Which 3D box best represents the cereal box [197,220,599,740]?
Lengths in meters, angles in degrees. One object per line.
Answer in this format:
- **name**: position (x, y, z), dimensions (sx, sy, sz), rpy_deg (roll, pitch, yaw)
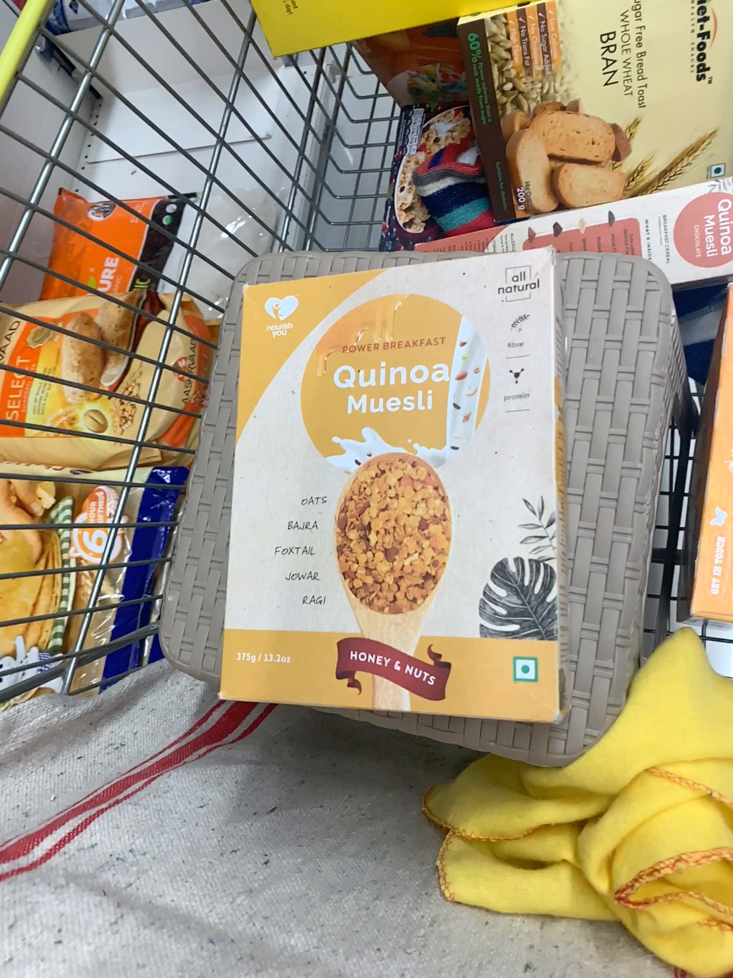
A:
- **cereal box**: position (0.020, 0.000, 0.347), dimensions (0.160, 0.080, 0.200), rpy_deg (-2, 79, 20)
